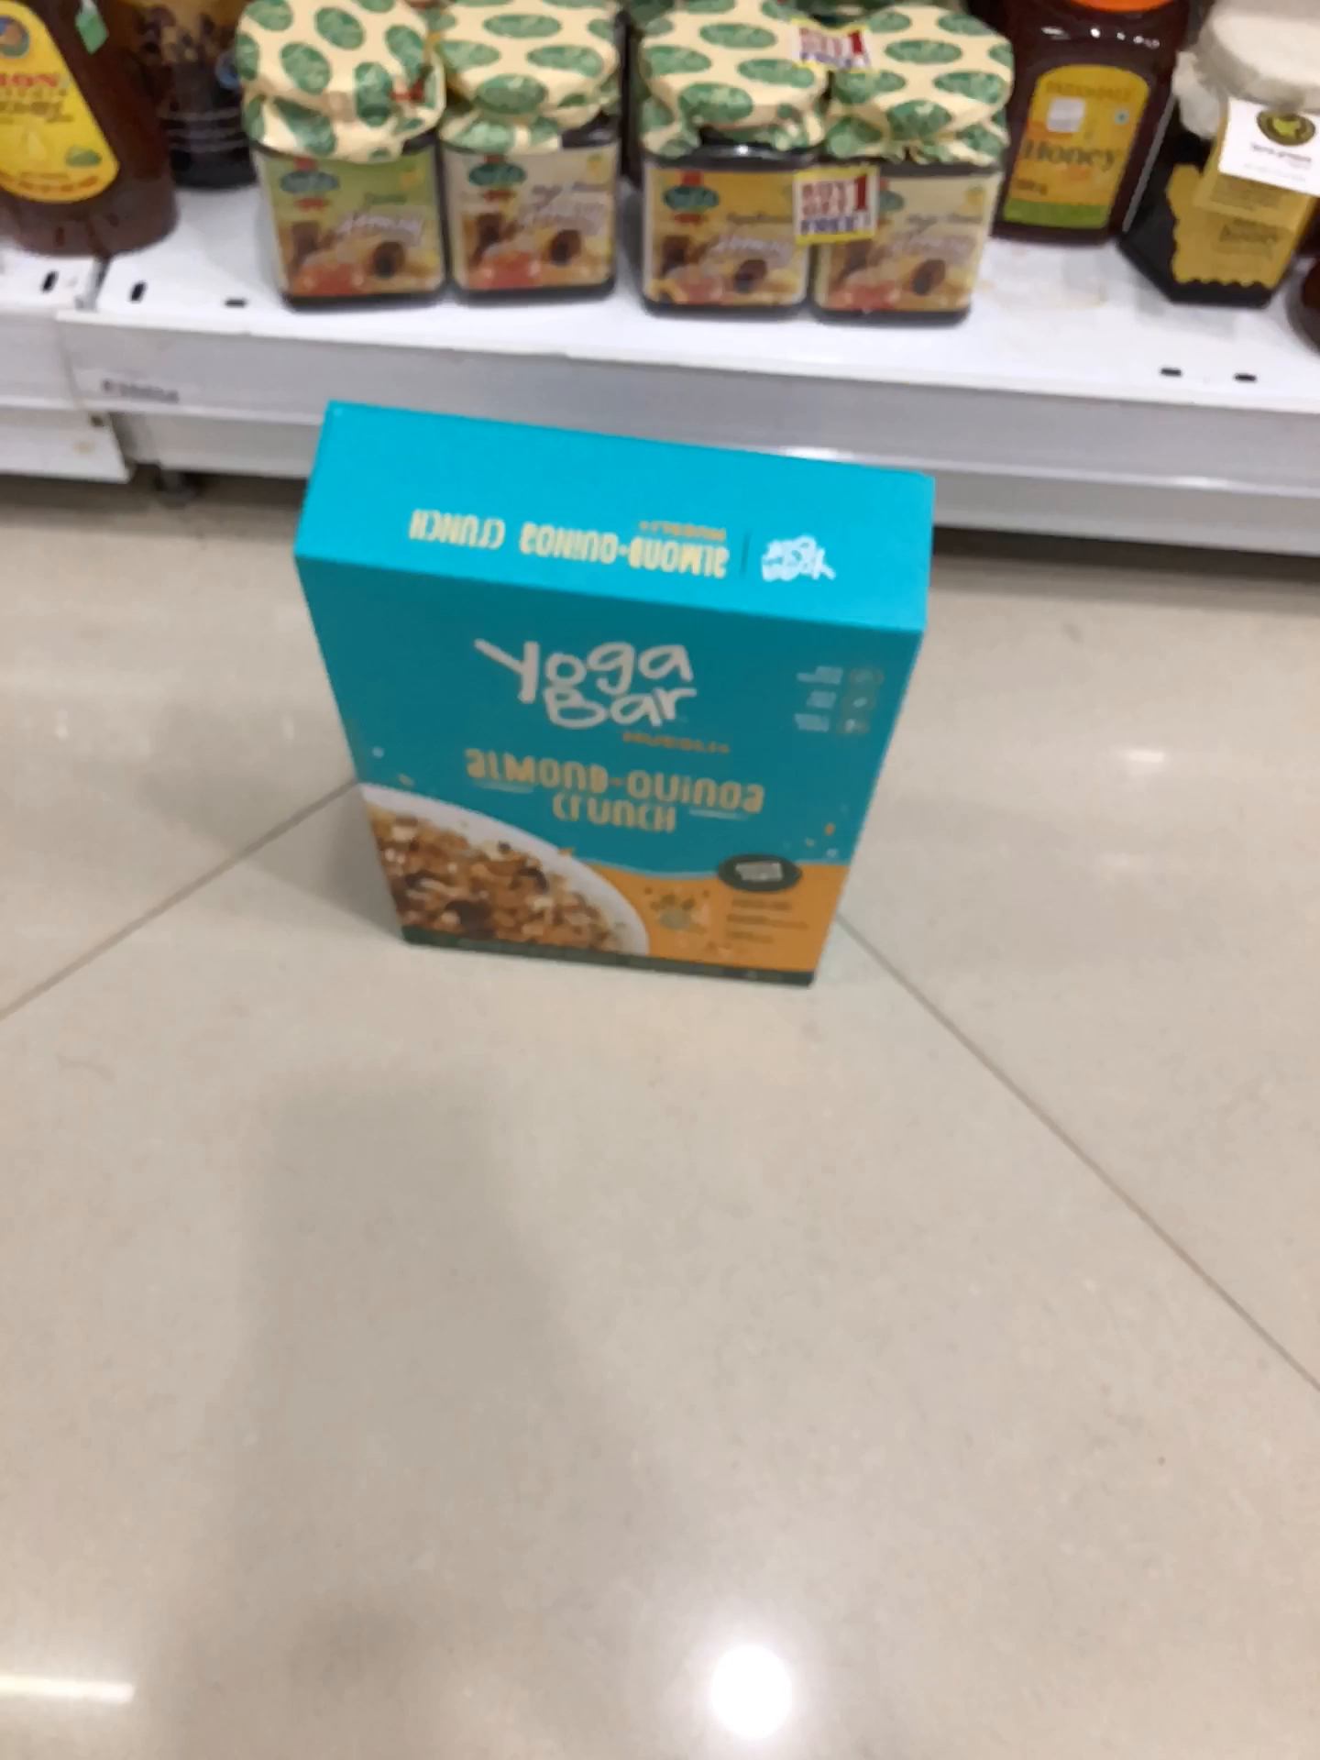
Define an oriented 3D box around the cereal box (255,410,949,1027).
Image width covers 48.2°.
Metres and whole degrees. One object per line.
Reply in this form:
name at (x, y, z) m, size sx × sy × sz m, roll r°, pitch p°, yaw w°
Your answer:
cereal box at (-0.016, -0.034, 0.474) m, size 0.170 × 0.229 × 0.060 m, roll 6°, pitch 61°, yaw 1°
